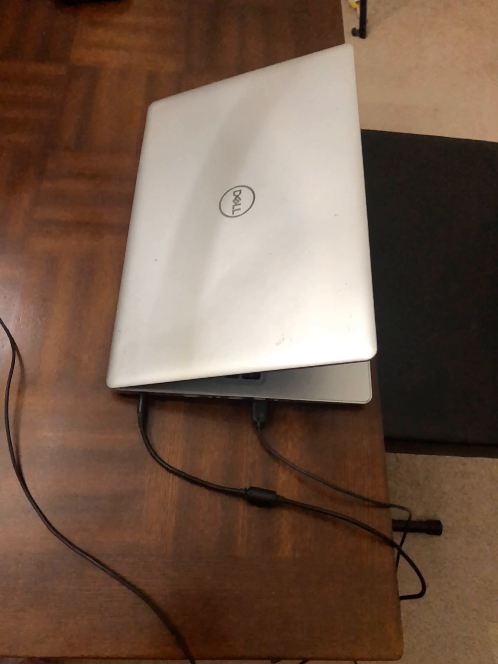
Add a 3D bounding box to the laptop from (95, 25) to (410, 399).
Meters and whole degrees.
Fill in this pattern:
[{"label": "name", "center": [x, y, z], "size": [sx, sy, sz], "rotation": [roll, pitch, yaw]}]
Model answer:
[{"label": "laptop", "center": [0.008, -0.129, 0.557], "size": [0.249, 0.103, 0.369], "rotation": [4, 64, -5]}]
